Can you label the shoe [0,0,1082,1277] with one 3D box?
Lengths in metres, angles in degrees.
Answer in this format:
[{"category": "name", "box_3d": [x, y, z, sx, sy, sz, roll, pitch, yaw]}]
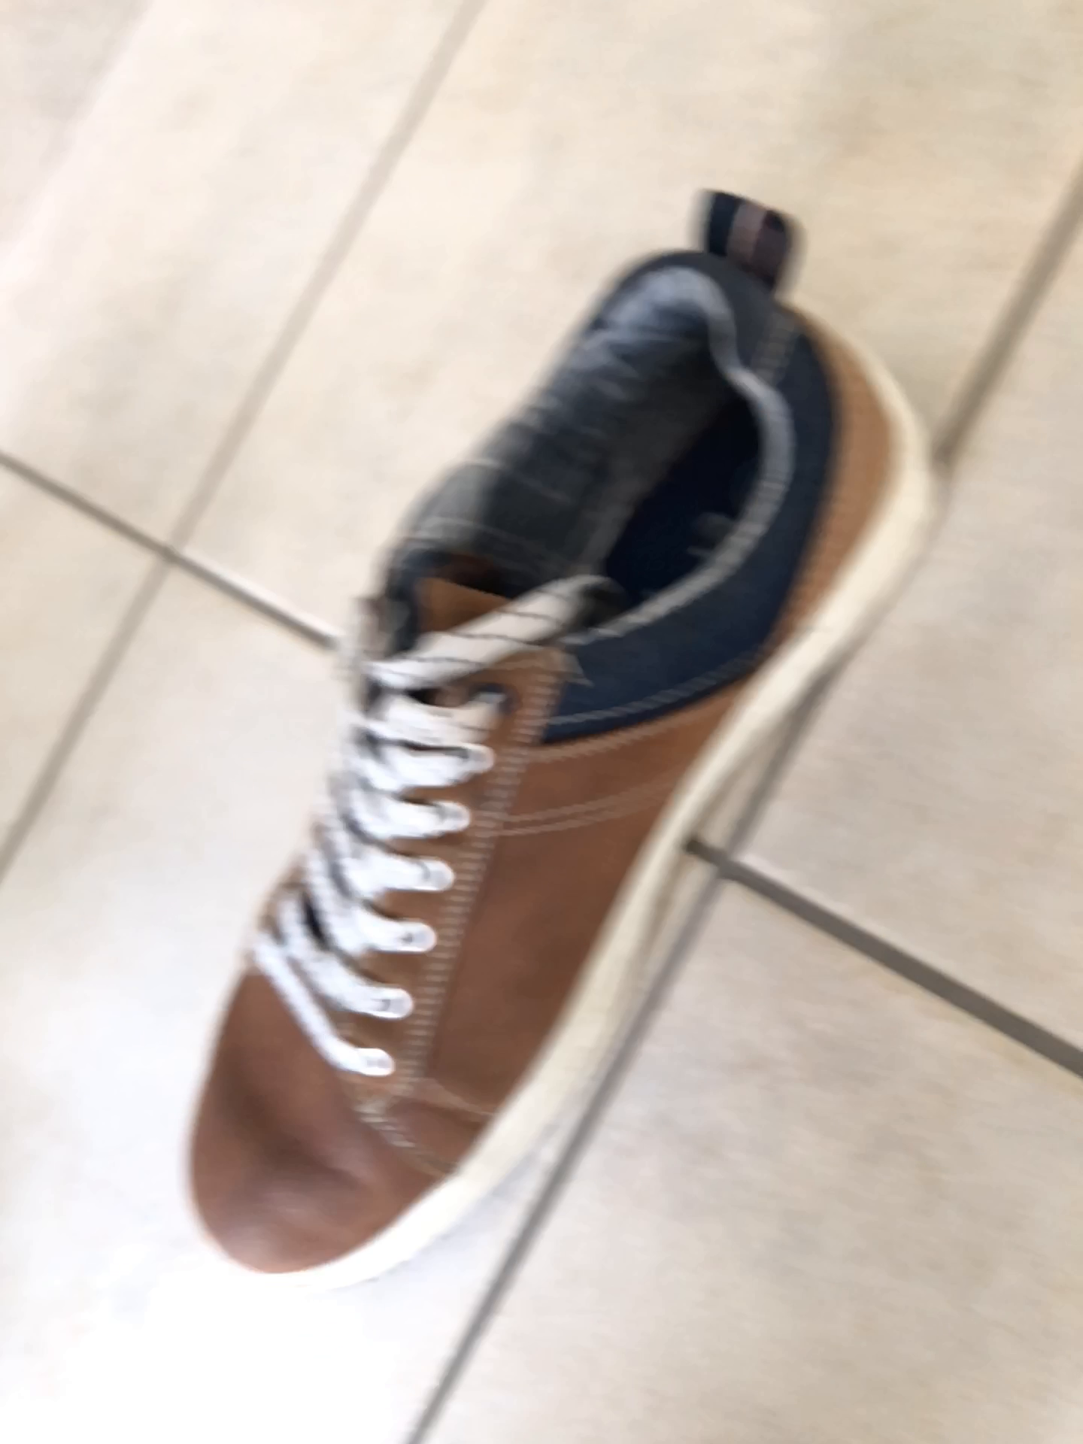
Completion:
[{"category": "shoe", "box_3d": [-0.006, -0.018, 0.324, 0.100, 0.120, 0.320, 39, 96, 39]}]
